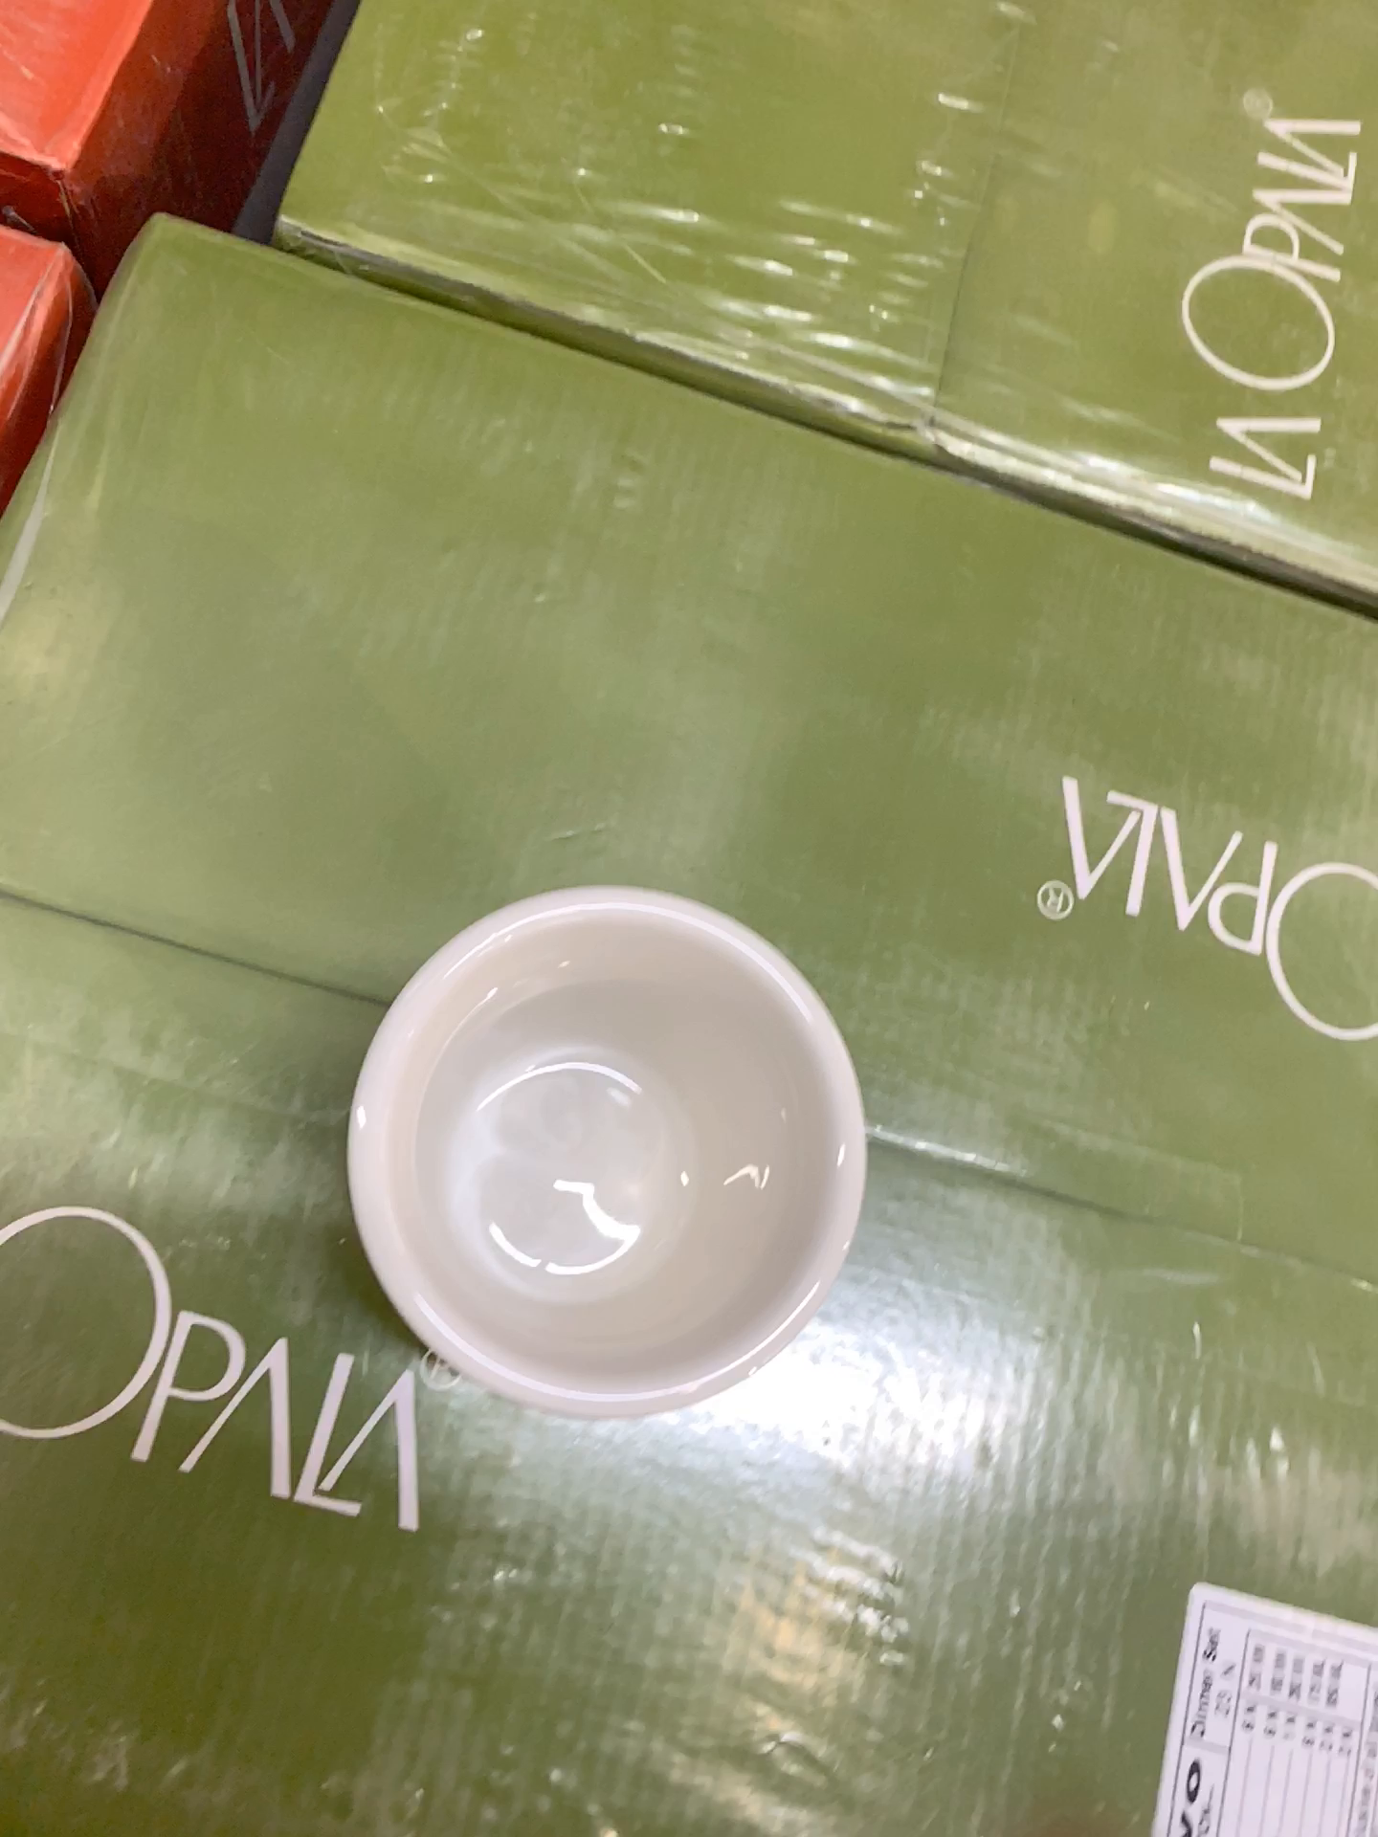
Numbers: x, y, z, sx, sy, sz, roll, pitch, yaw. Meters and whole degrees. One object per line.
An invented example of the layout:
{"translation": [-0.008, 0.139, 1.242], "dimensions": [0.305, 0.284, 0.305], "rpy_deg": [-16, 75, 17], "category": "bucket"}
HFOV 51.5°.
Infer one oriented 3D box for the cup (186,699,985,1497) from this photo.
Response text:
{"translation": [-0.016, 0.026, 0.204], "dimensions": [0.070, 0.060, 0.070], "rpy_deg": [2, 74, -9], "category": "cup"}
